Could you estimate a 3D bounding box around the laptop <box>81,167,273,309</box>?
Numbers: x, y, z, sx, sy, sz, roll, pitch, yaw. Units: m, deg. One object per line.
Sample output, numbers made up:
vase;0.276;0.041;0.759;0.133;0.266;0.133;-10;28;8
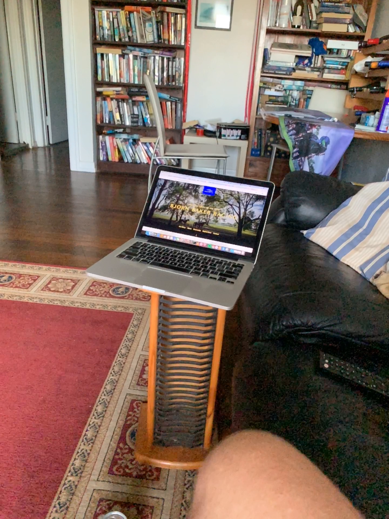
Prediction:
laptop;-0.018;-0.078;0.888;0.312;0.161;0.341;13;25;17
